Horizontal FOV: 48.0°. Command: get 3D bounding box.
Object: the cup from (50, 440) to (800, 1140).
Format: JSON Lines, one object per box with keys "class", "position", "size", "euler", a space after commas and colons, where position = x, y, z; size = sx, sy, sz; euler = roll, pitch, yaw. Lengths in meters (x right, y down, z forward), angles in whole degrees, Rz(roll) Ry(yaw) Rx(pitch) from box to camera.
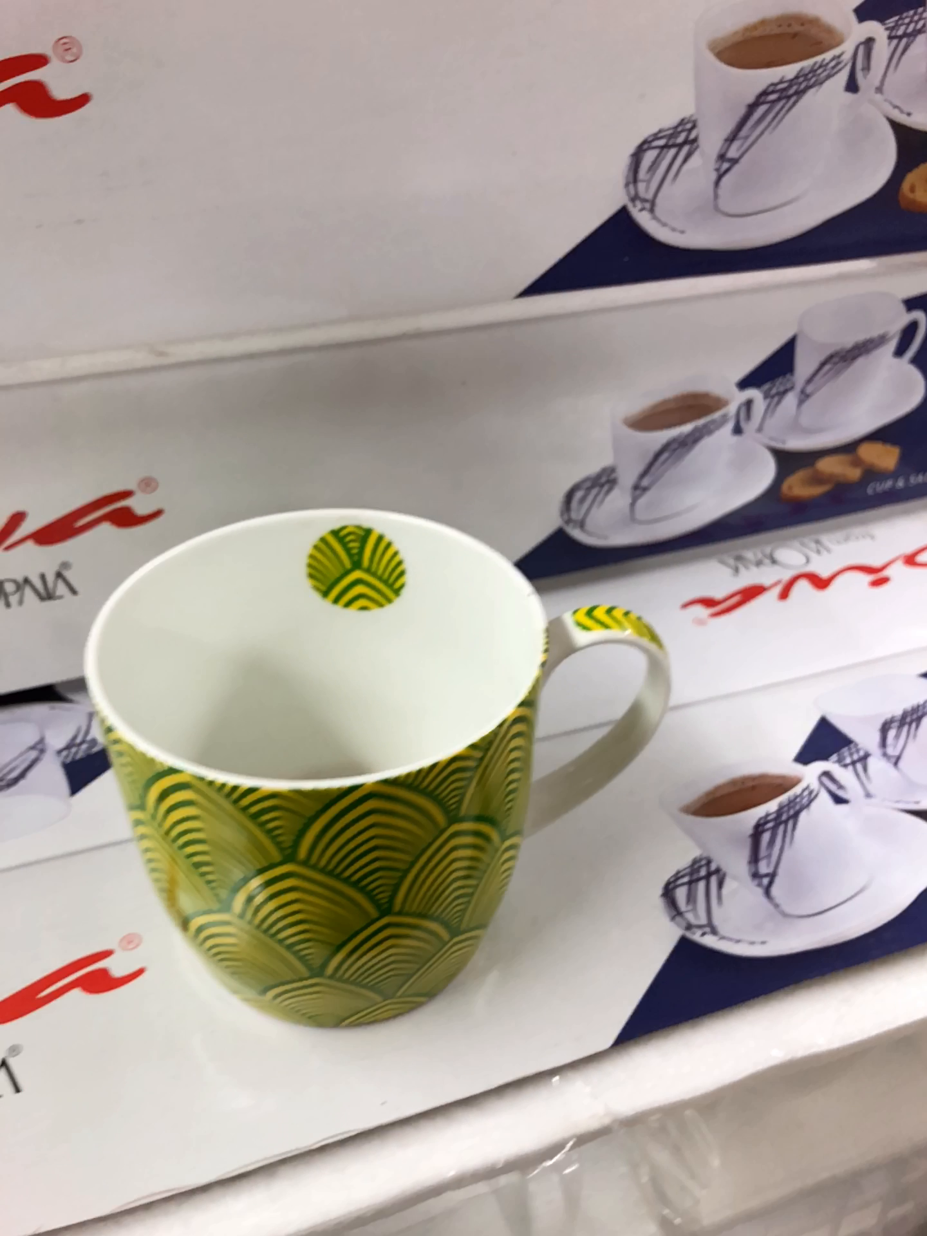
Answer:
{"class": "cup", "position": [-0.012, 0.027, 0.226], "size": [0.120, 0.080, 0.090], "euler": [-14, 39, -20]}
